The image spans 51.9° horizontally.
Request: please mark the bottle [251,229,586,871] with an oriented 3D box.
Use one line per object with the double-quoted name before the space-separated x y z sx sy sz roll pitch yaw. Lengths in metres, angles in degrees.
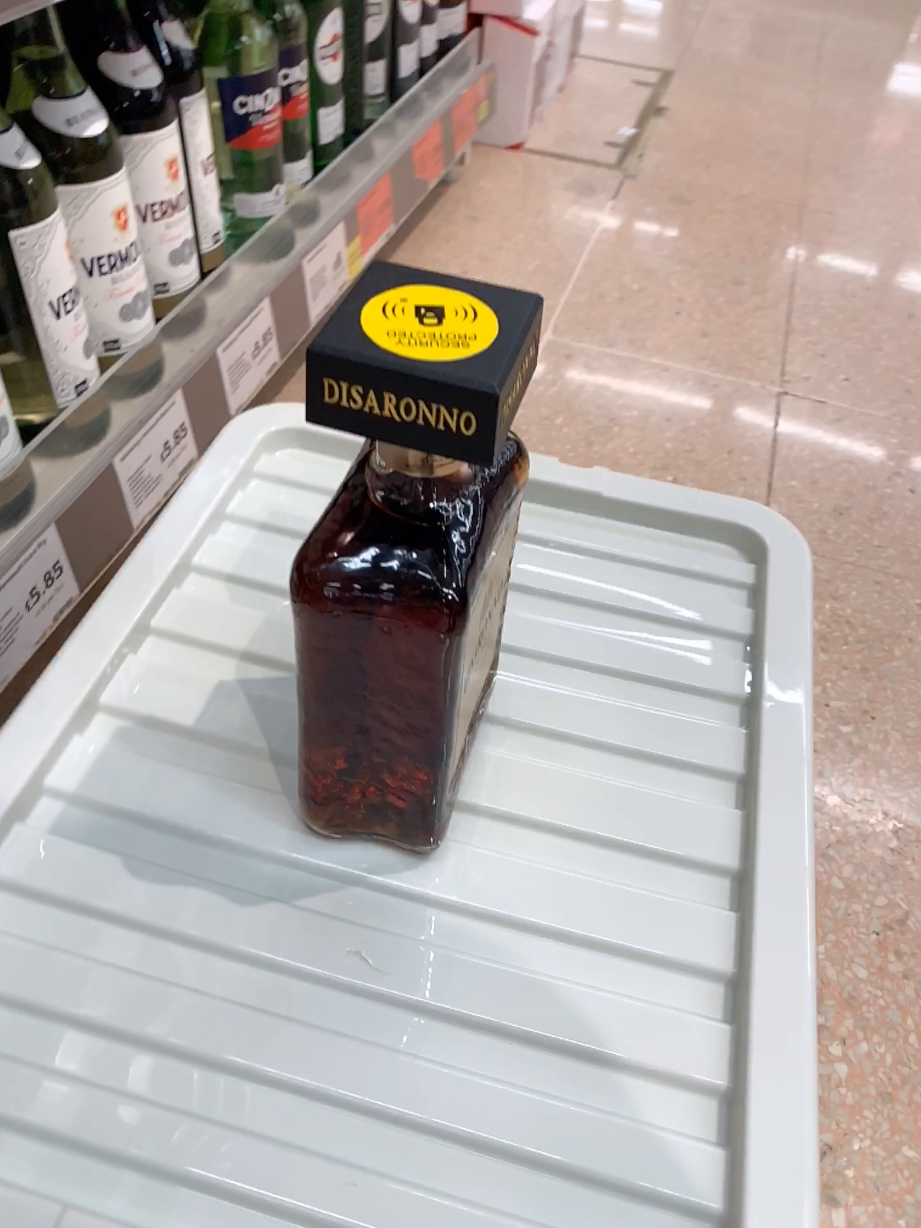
"bottle" -0.015 -0.013 0.356 0.070 0.208 0.111 14 46 7
